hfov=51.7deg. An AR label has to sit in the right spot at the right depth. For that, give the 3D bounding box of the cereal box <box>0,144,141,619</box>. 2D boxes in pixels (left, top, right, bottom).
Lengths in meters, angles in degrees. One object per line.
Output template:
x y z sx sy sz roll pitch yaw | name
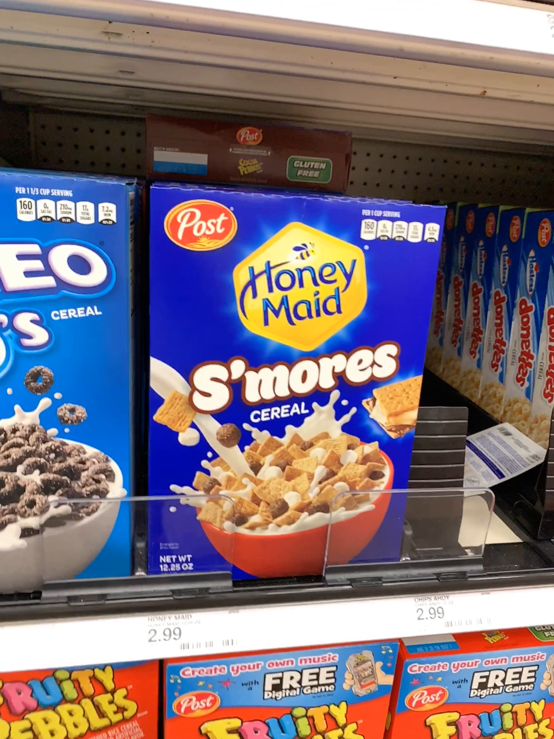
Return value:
-0.179 0.011 0.363 0.180 0.269 0.070 0 16 -13 | cereal box

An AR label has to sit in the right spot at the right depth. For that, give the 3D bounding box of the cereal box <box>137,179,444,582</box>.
-0.001 0.012 0.411 0.190 0.269 0.060 1 16 -11 | cereal box
